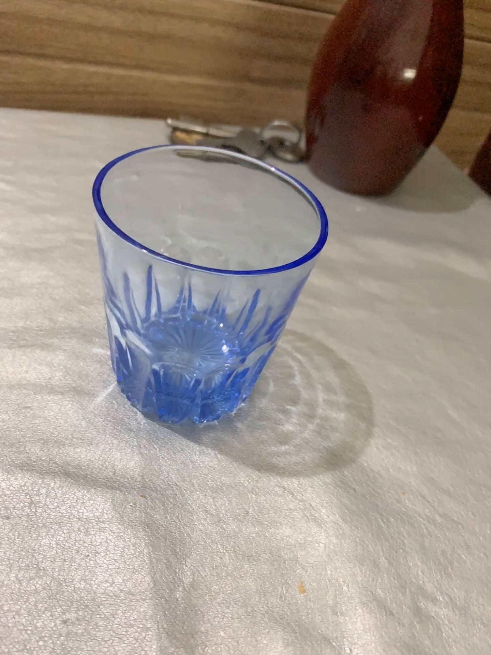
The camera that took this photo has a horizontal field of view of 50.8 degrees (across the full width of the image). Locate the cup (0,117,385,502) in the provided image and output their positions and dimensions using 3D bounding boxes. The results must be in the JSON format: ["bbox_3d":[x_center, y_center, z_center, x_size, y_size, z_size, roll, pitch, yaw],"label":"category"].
[{"bbox_3d":[-0.017,-0.013,0.186,0.090,0.070,0.090,8,44,-8],"label":"cup"}]
